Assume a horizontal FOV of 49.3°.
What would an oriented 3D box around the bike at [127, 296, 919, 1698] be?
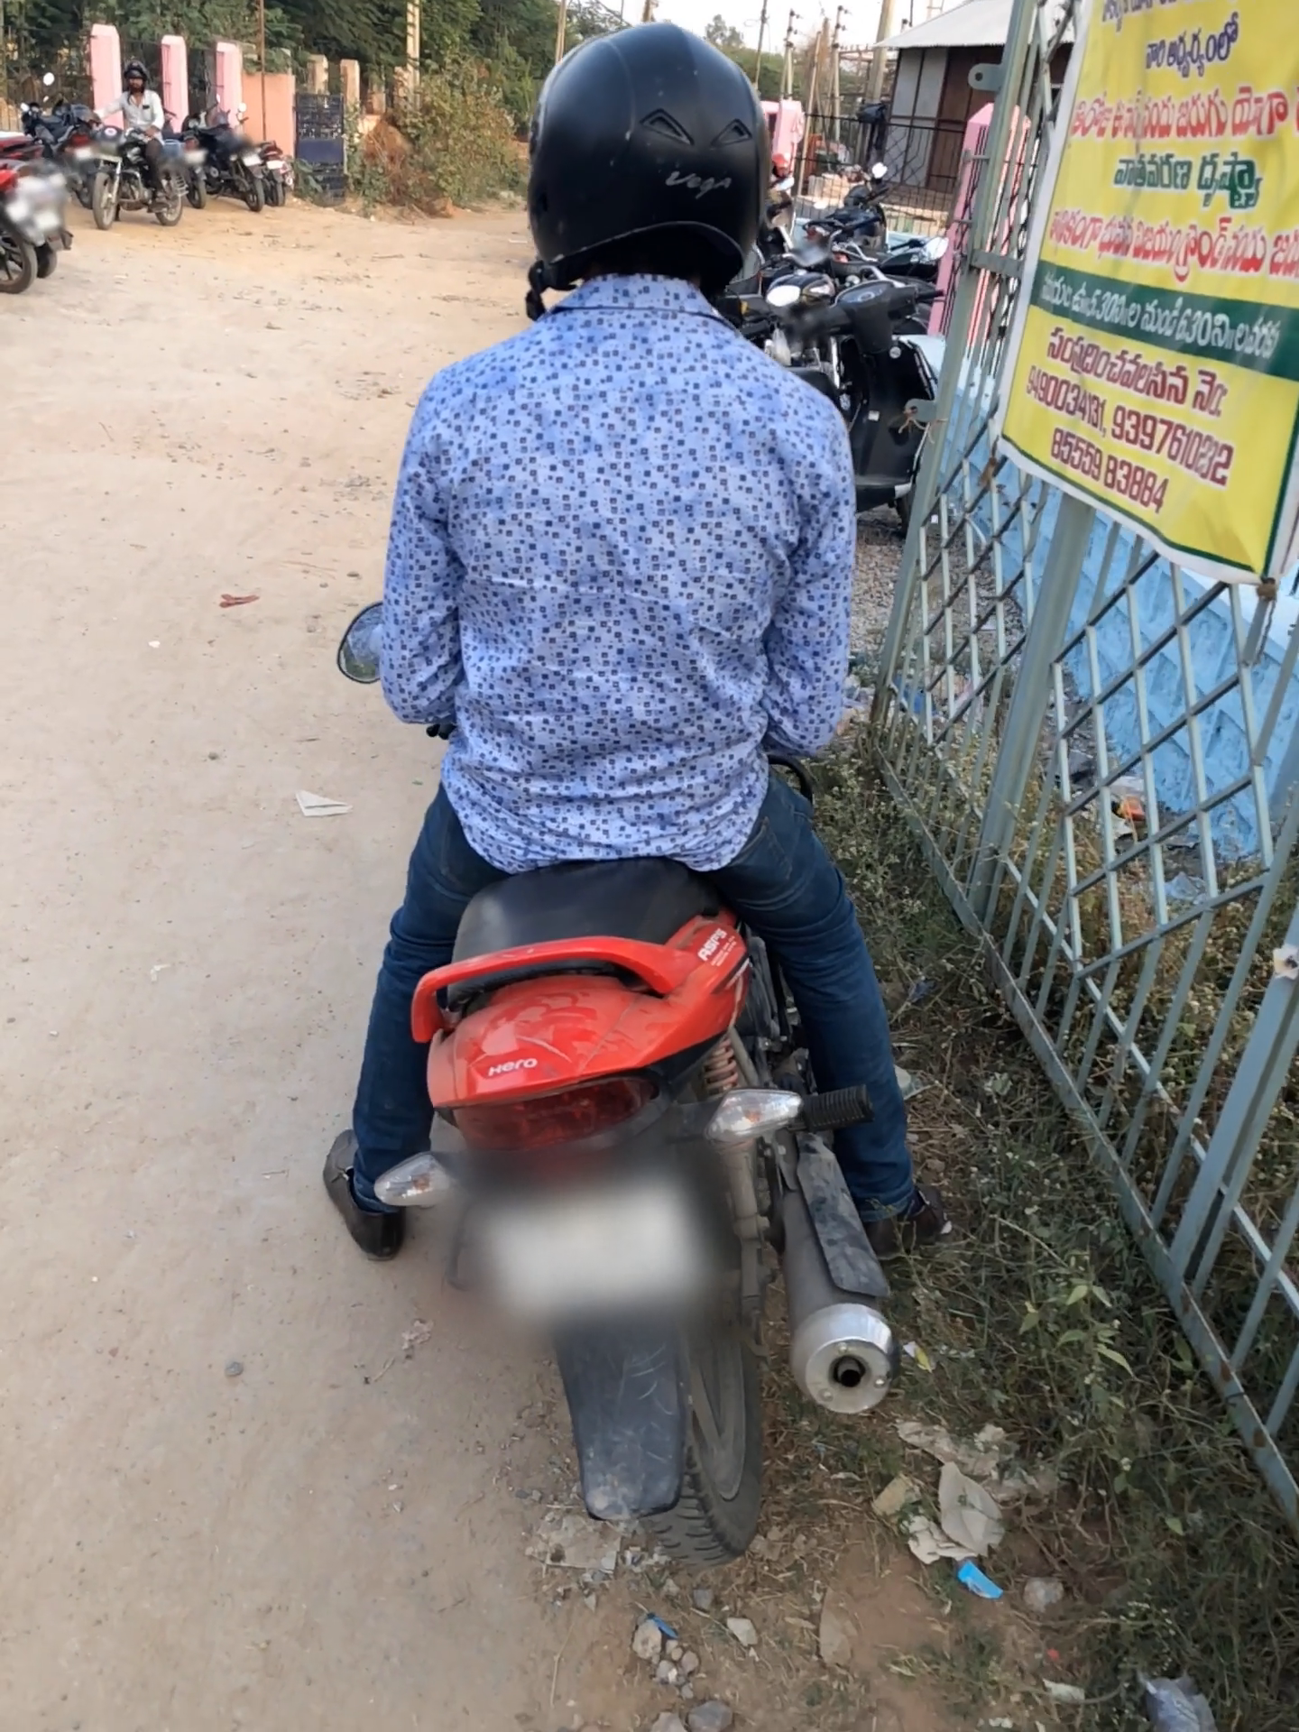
[{"bbox_3d":[-0.256,-0.024,2.038,0.582,1.176,1.698,2,29,-9],"label":"bike"}]
